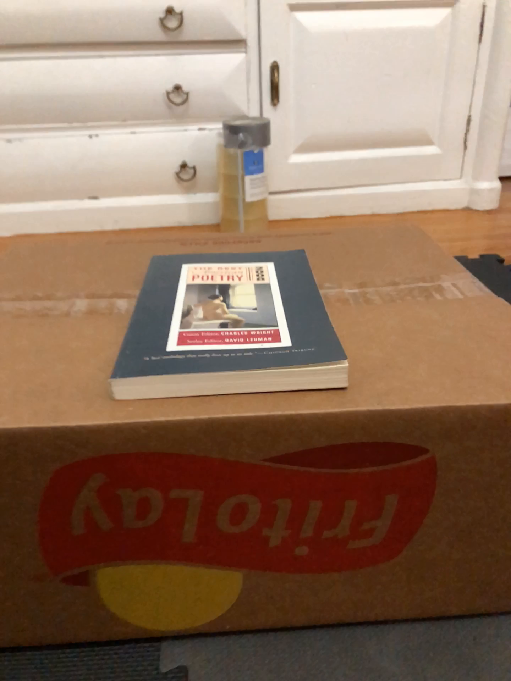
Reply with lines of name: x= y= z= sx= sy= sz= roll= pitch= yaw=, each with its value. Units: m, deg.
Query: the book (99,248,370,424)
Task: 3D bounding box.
book: x=-0.018 y=-0.019 z=0.418 sx=0.150 sy=0.020 sz=0.231 roll=-3 pitch=27 yaw=-2
